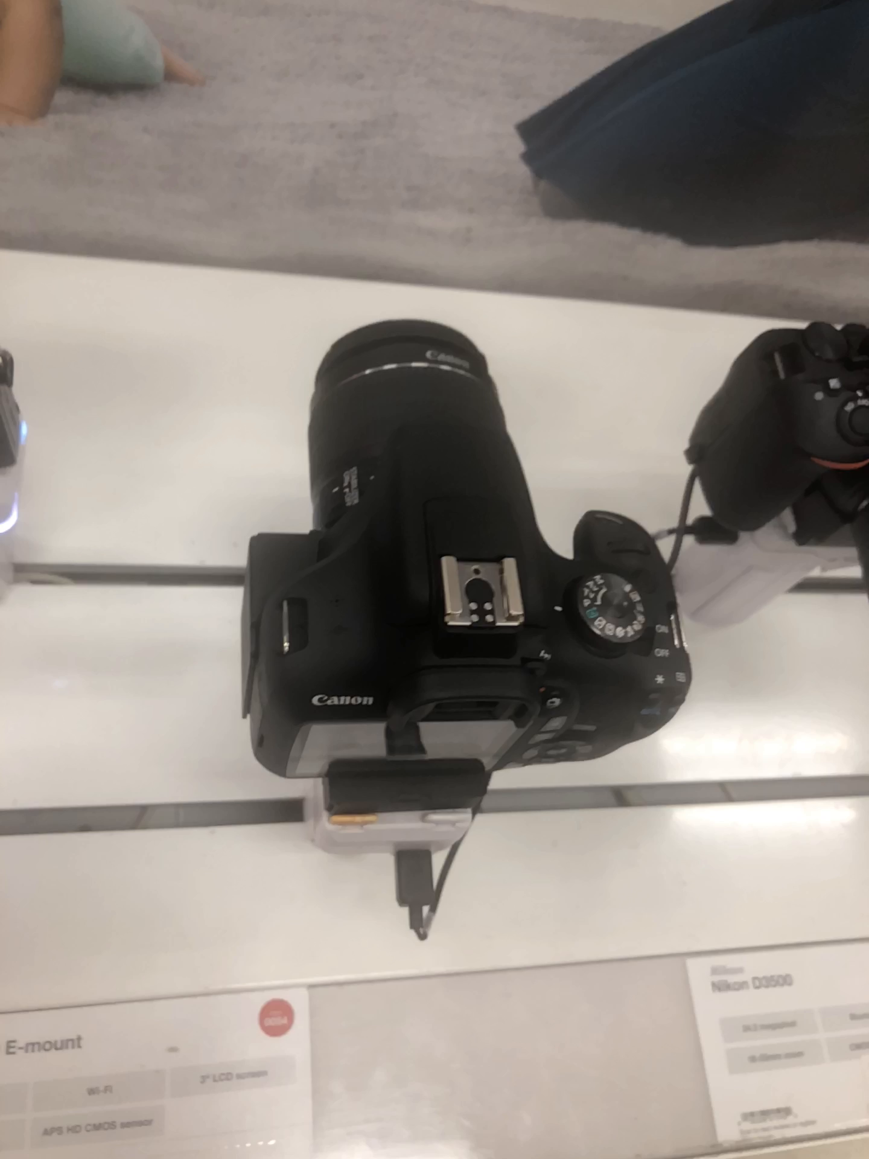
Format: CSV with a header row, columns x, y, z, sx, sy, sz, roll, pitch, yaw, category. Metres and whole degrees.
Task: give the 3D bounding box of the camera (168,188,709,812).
x,y,z,sx,sy,sz,roll,pitch,yaw,category
-0.011,-0.022,0.317,0.140,0.090,0.170,1,67,-14,camera
